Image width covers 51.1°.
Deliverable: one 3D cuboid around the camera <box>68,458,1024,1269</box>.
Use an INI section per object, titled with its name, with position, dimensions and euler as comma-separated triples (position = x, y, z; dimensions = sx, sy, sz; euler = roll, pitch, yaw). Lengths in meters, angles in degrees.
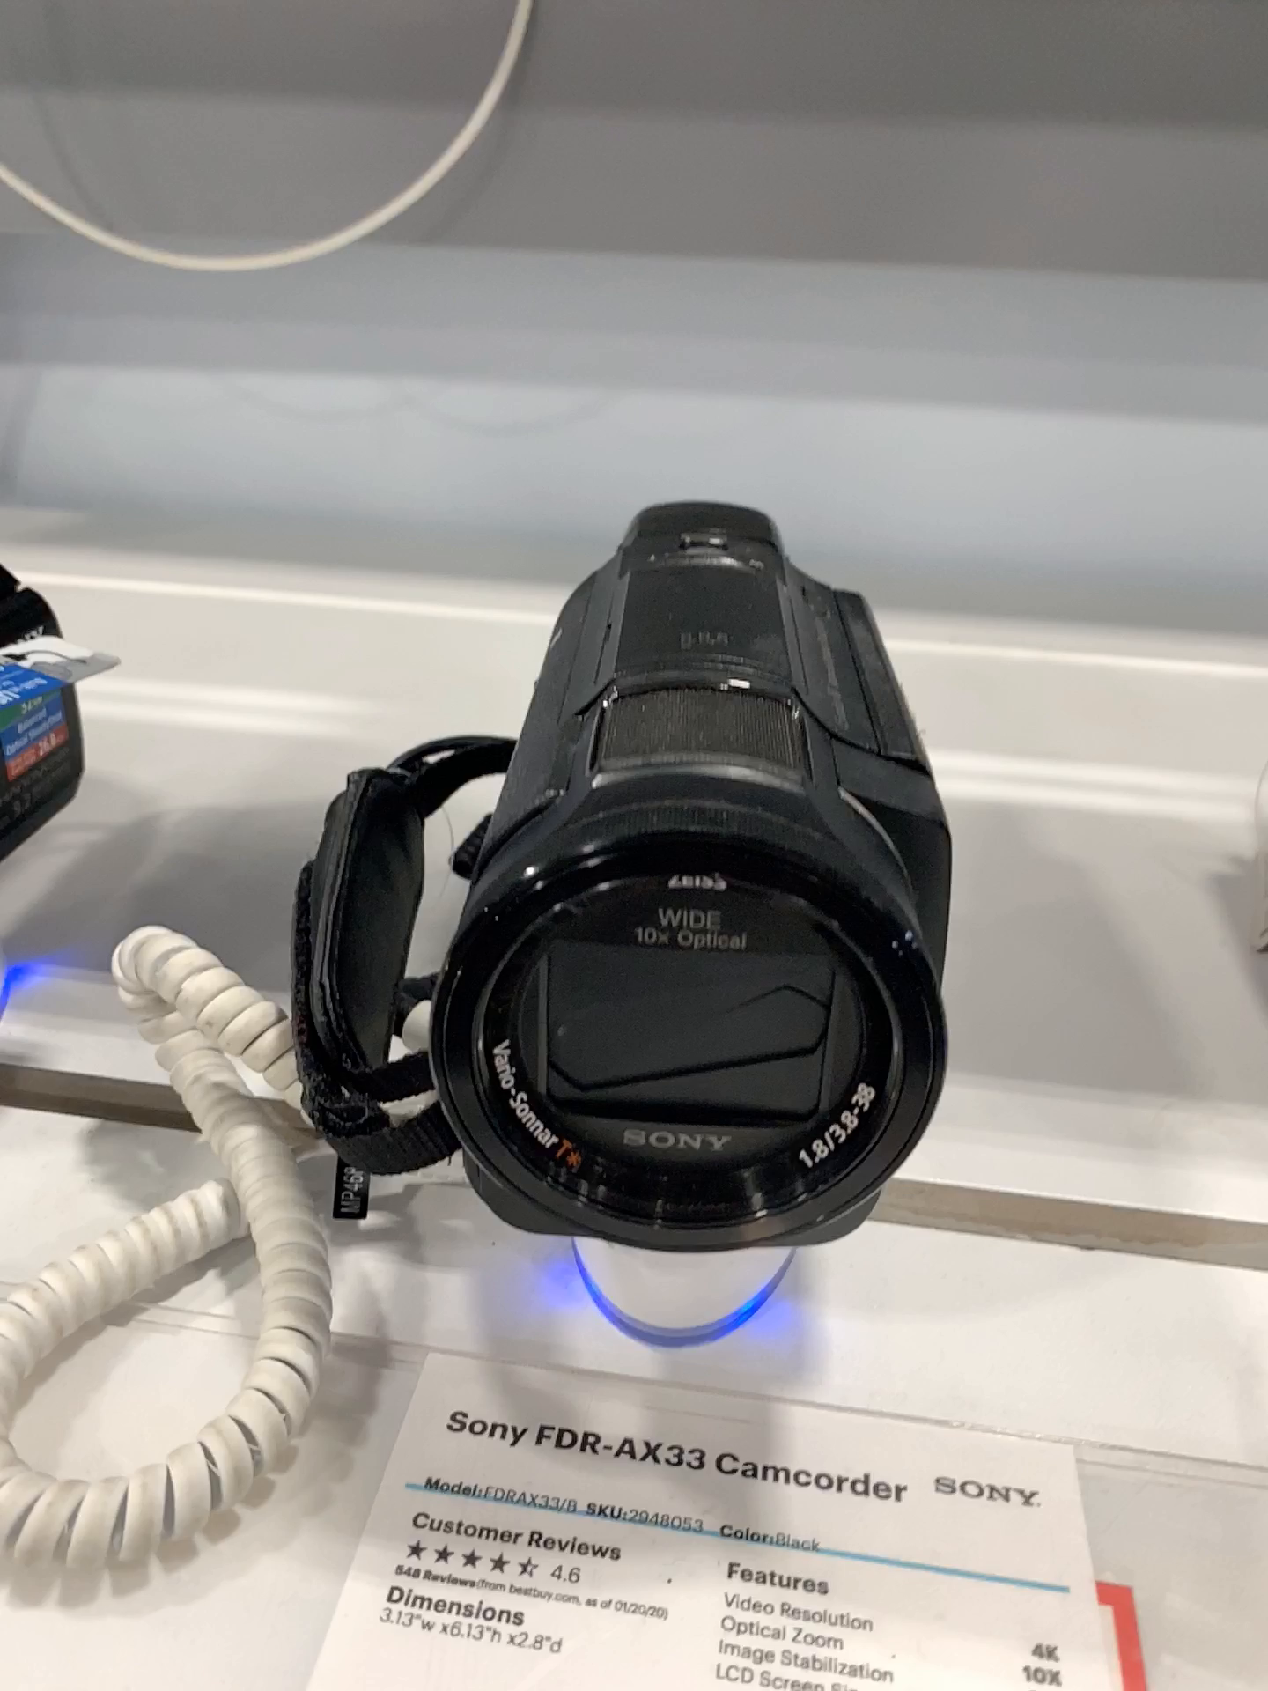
[camera]
position = -0.007, -0.011, 0.217
dimensions = 0.102, 0.067, 0.136
euler = 4, 29, 3
